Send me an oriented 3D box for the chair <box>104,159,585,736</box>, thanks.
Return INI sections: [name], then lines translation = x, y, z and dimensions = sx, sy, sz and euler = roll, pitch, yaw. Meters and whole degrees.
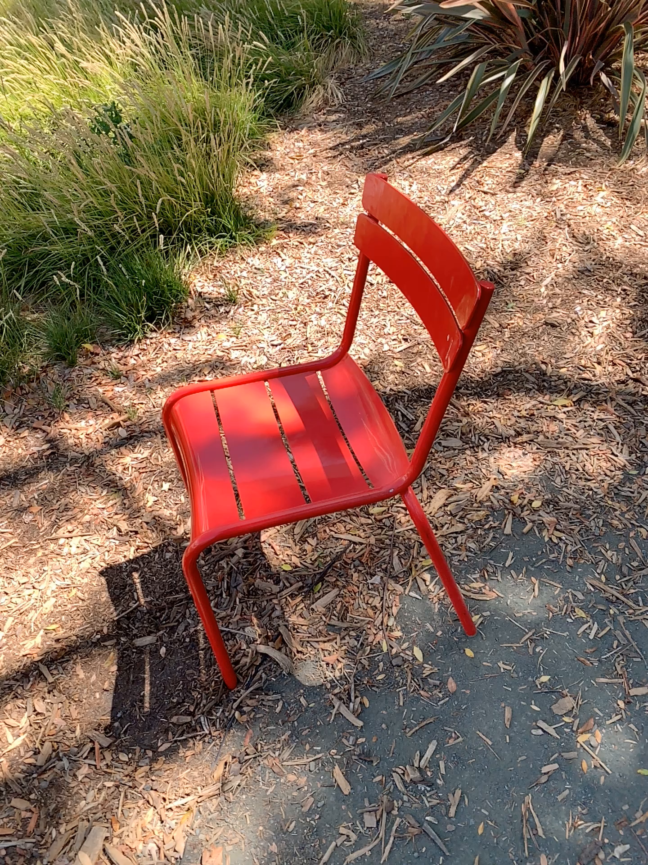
[chair]
translation = -0.031, 0.007, 1.244
dimensions = 0.570, 0.785, 0.614
euler = -10, 40, -12
